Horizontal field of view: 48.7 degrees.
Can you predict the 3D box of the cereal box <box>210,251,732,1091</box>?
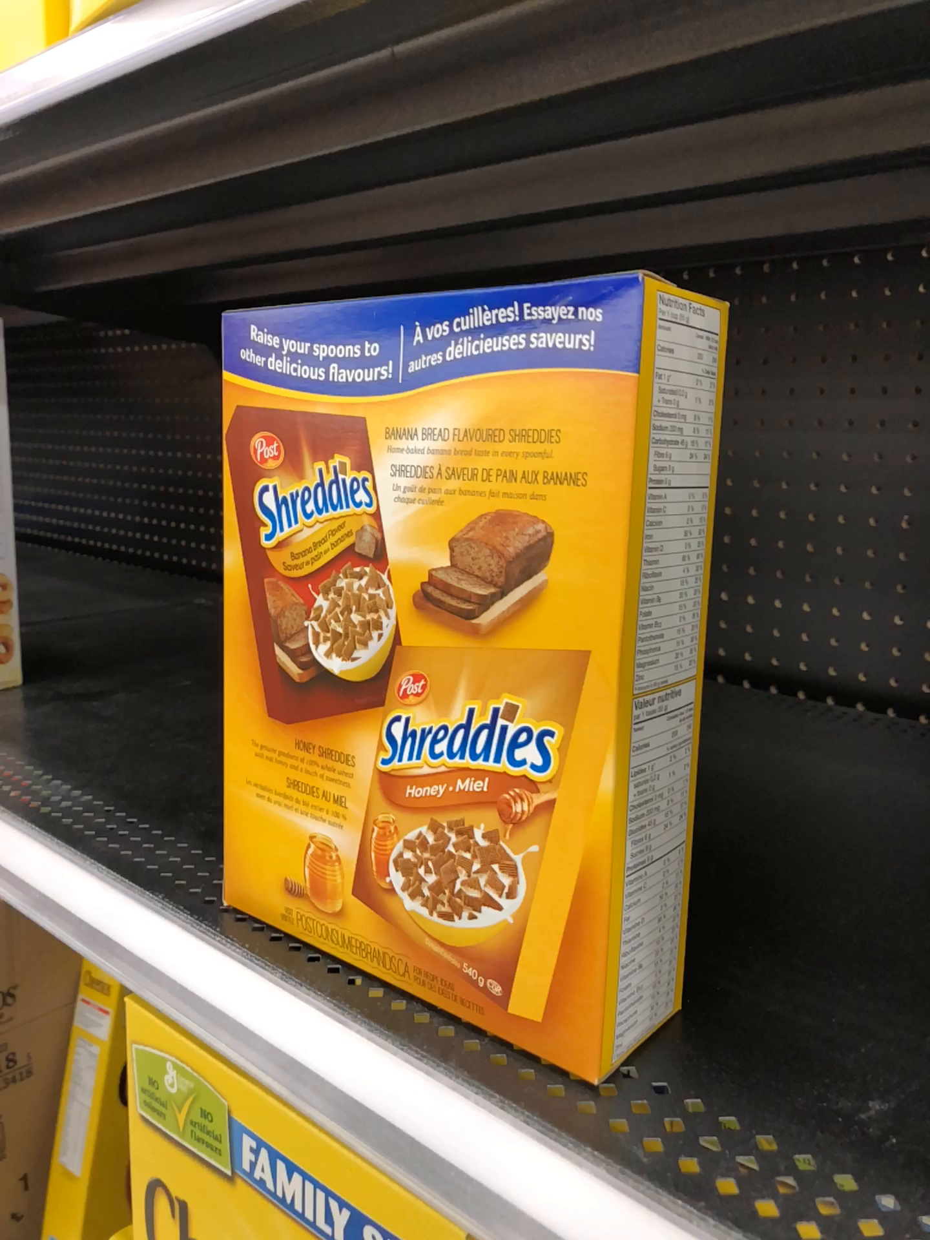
[{"bbox_3d":[-0.013,0.007,0.413,0.210,0.269,0.060,9,11,39],"label":"cereal box"}]
